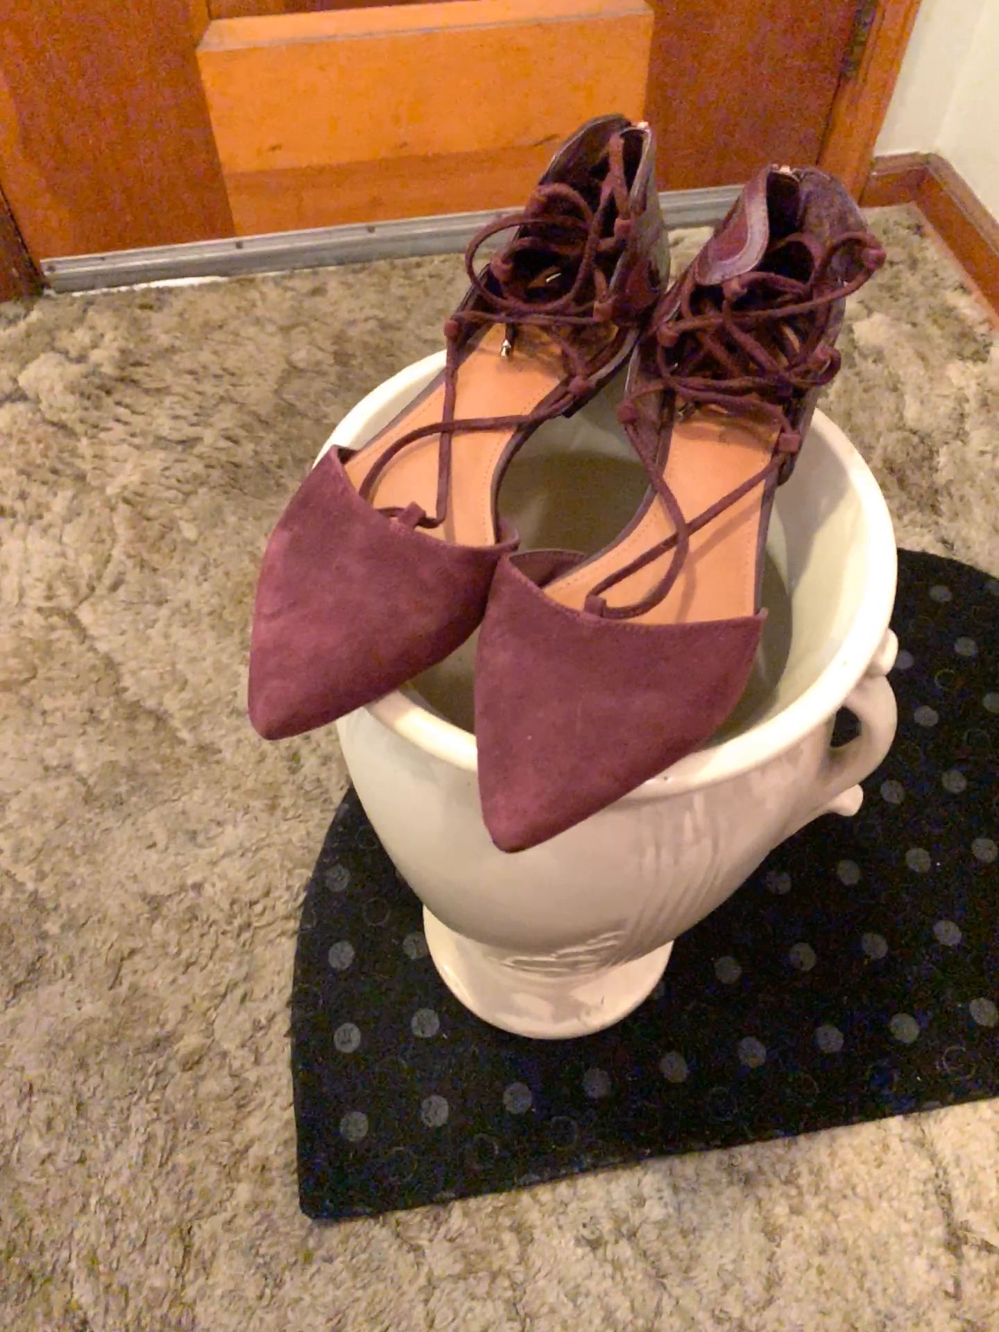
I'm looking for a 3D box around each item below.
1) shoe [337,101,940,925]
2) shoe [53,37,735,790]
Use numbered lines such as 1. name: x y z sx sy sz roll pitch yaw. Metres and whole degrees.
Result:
1. shoe: 0.057 -0.066 0.339 0.092 0.099 0.262 20 57 13
2. shoe: -0.014 -0.102 0.359 0.092 0.099 0.262 23 58 15
